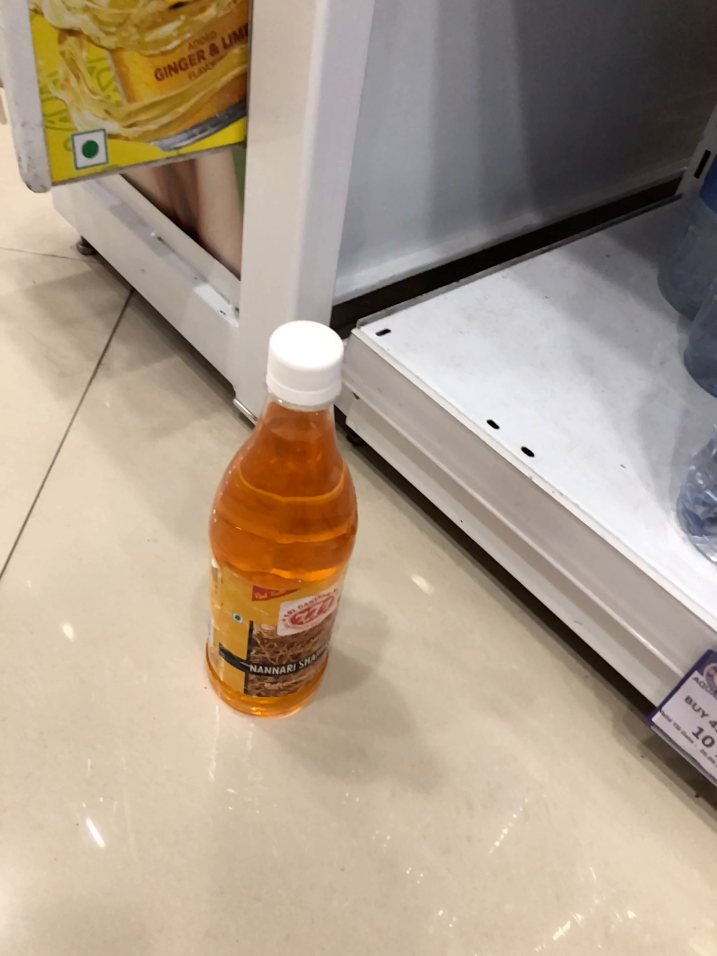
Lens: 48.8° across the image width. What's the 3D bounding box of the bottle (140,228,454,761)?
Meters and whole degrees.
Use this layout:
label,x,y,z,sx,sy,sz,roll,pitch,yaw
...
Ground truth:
label,x,y,z,sx,sy,sz,roll,pitch,yaw
bottle,-0.049,0.028,0.438,0.100,0.298,0.100,6,46,-6
